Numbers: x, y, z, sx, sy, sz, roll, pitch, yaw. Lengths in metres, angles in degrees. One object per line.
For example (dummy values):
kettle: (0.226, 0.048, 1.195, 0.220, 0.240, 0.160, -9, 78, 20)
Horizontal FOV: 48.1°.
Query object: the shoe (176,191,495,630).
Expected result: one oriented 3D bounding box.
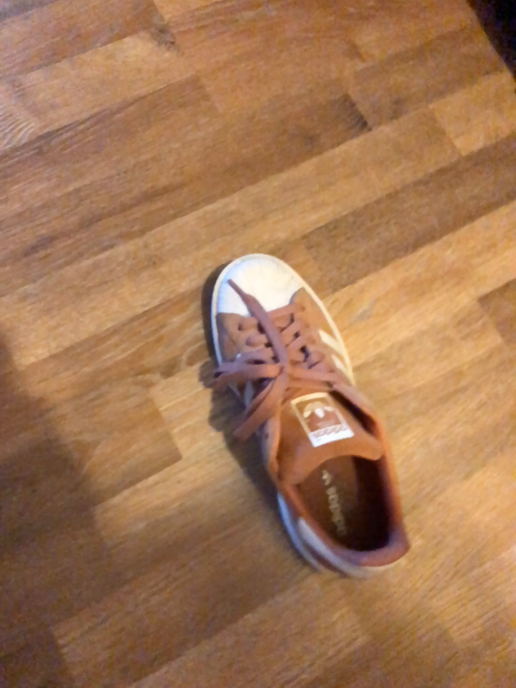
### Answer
shoe: (0.041, 0.043, 0.424, 0.110, 0.110, 0.260, -21, 78, -11)
